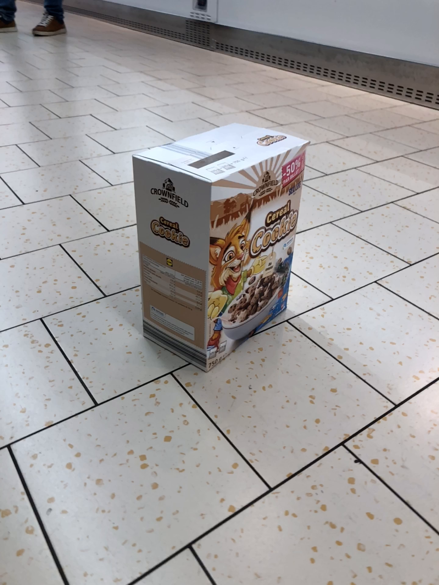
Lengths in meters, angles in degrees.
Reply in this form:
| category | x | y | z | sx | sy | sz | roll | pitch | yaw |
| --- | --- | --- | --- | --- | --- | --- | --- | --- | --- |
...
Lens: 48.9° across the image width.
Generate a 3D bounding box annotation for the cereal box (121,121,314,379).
| category | x | y | z | sx | sy | sz | roll | pitch | yaw |
| --- | --- | --- | --- | --- | --- | --- | --- | --- | --- |
| cereal box | 0.000 | -0.062 | 0.616 | 0.120 | 0.248 | 0.201 | 25 | 39 | 31 |
